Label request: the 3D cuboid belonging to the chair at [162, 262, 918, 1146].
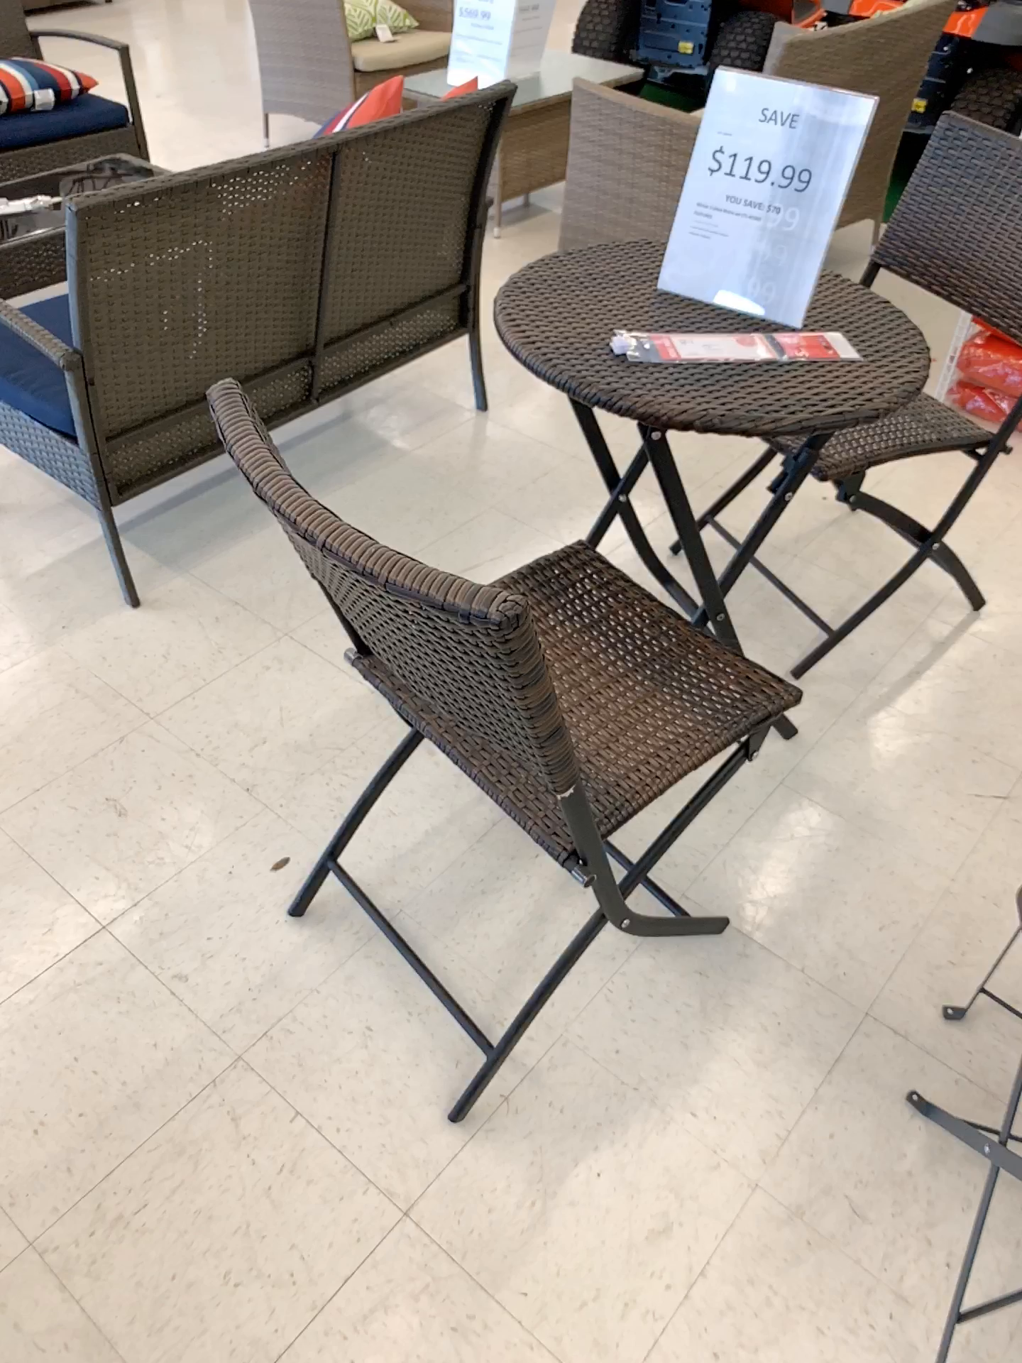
[{"bbox_3d":[0.011,0.025,1.224,0.511,0.766,0.481,-28,50,-29],"label":"chair"}]
